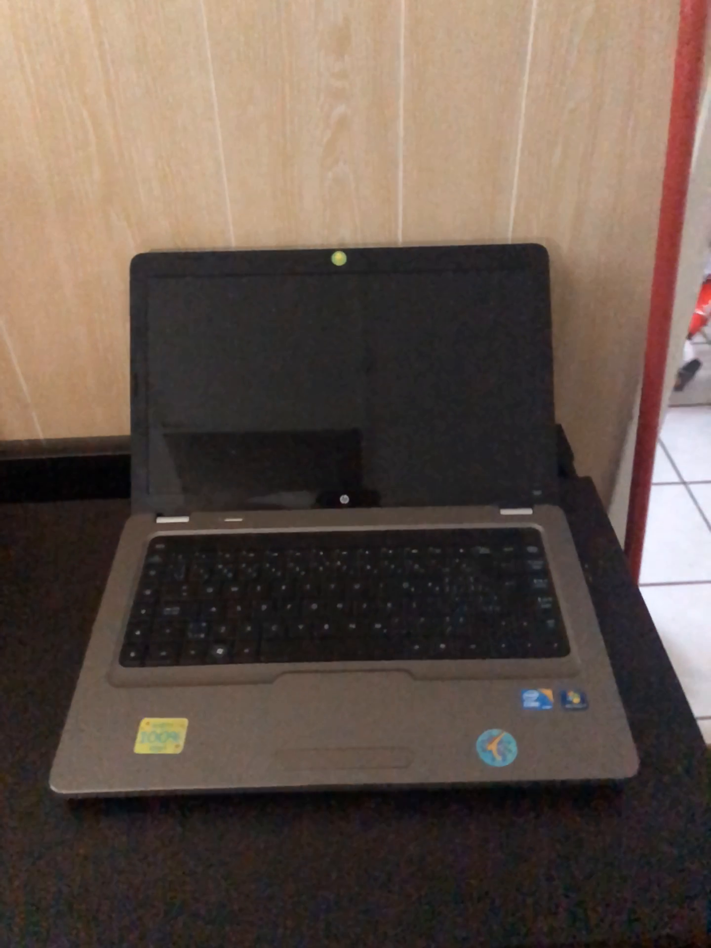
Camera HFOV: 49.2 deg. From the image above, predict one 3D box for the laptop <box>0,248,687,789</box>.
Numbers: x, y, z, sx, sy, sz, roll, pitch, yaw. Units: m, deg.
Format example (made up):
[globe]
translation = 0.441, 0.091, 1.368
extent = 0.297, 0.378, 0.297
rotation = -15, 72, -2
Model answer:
[laptop]
translation = -0.013, -0.001, 0.593
extent = 0.356, 0.166, 0.404
rotation = -2, 40, 1
